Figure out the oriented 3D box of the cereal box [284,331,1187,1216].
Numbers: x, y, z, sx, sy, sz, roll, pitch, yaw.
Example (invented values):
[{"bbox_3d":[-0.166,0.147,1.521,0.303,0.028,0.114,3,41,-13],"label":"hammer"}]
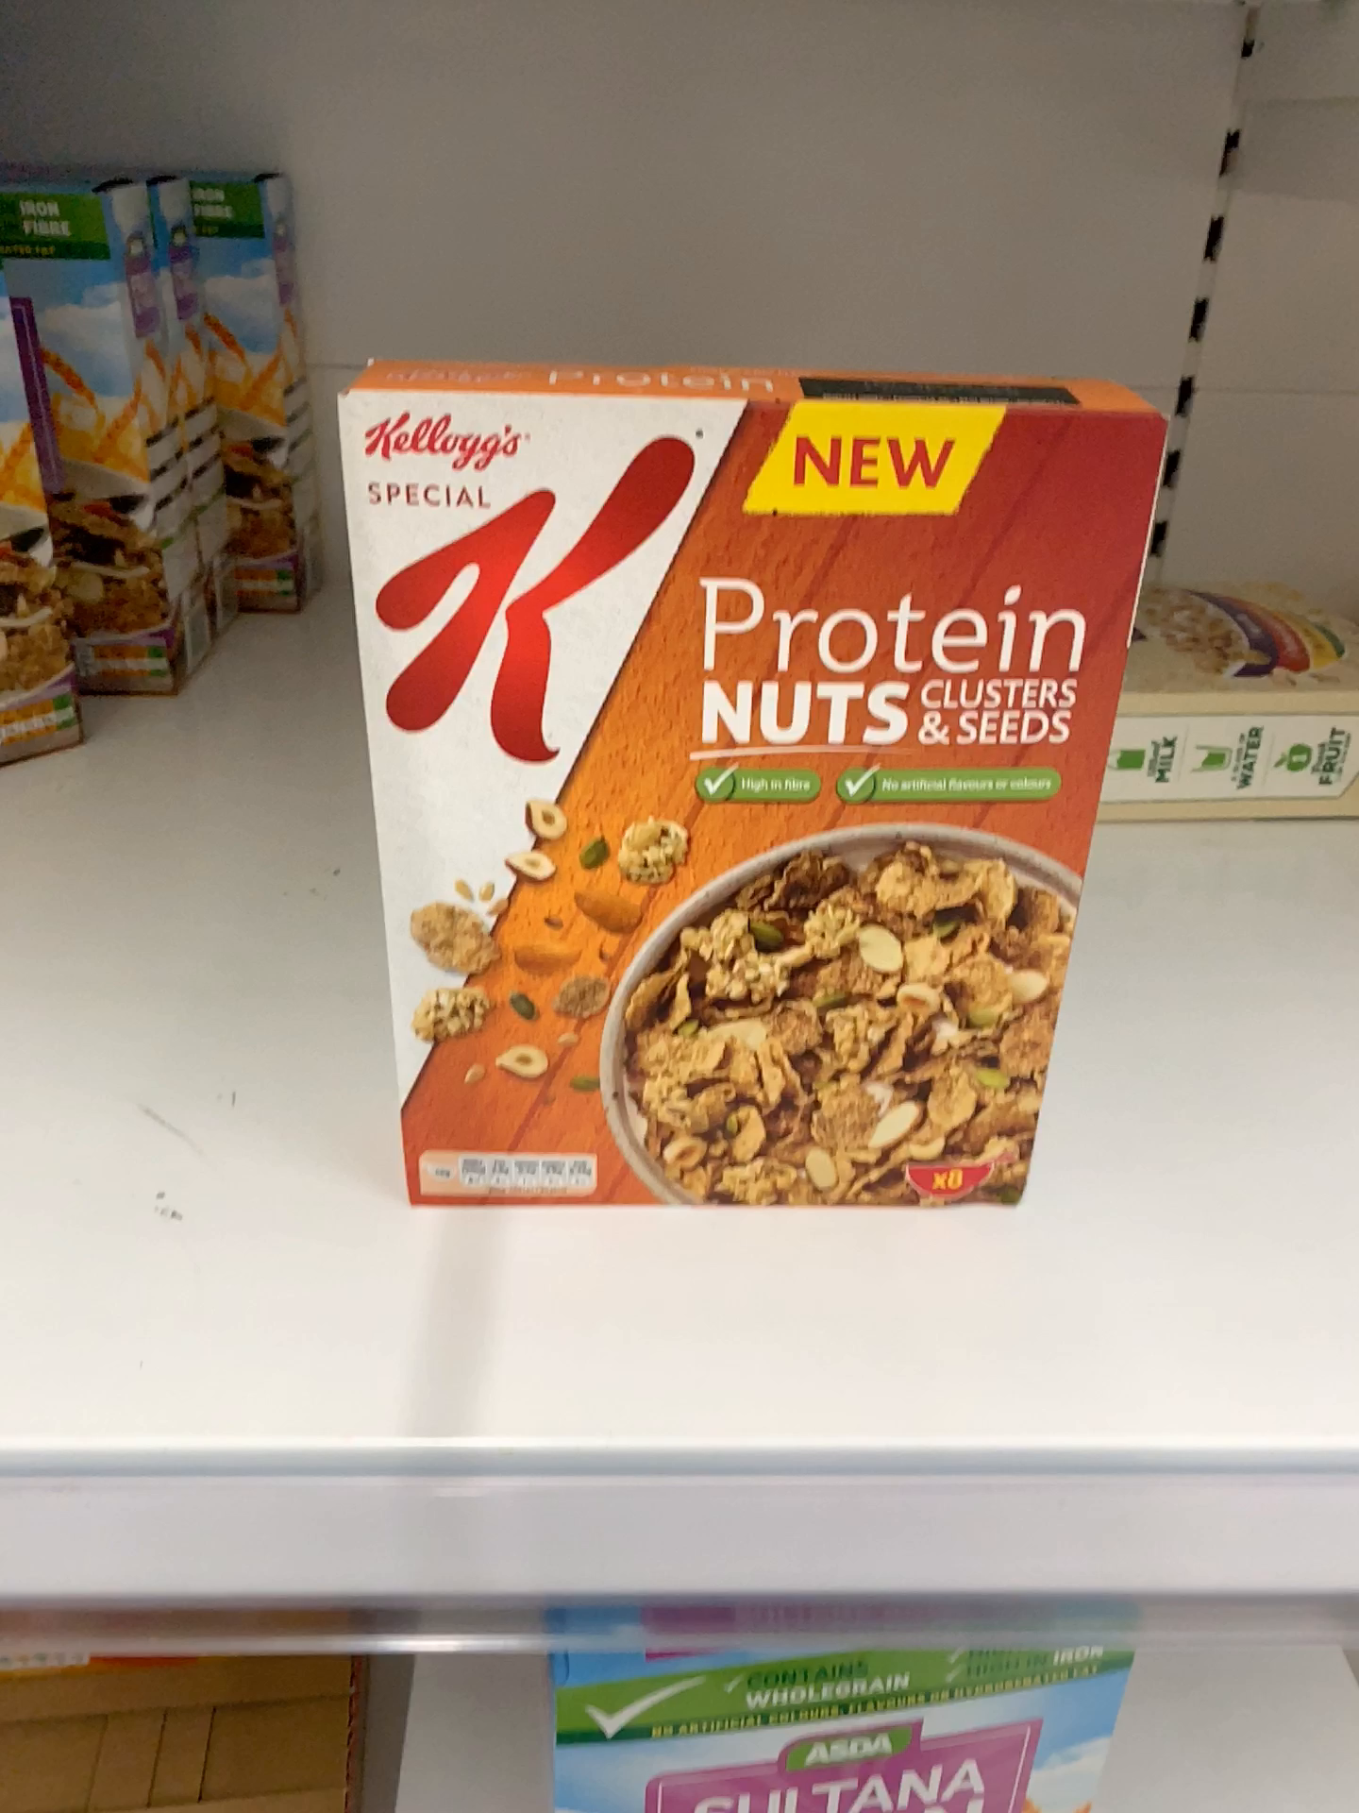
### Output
[{"bbox_3d":[0.010,-0.028,0.397,0.200,0.238,0.071,1,29,-2],"label":"cereal box"}]
